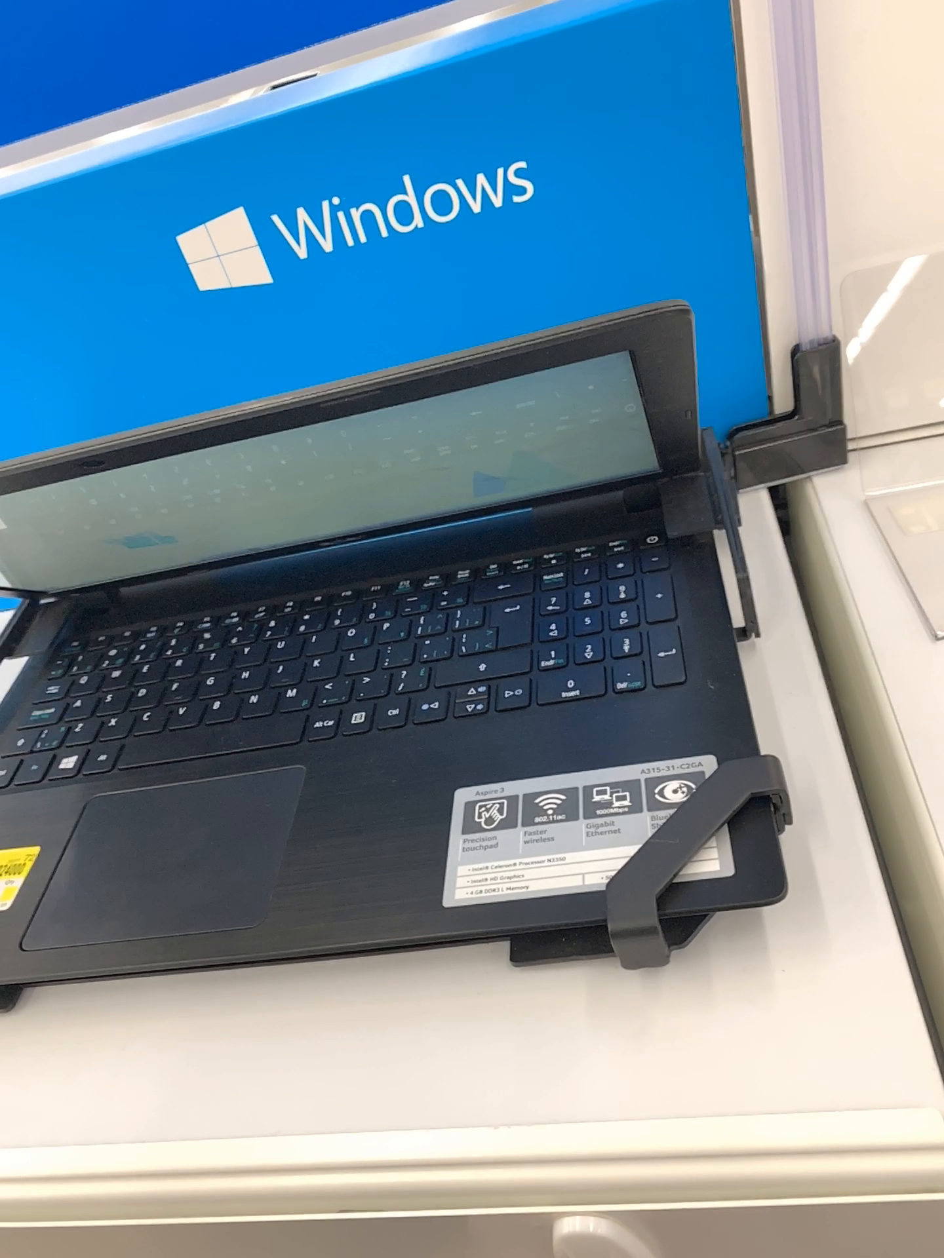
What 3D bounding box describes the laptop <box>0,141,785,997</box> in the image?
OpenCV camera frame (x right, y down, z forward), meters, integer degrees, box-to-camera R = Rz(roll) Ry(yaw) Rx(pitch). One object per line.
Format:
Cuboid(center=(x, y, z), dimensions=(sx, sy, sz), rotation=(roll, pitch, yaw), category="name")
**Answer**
Cuboid(center=(-0.088, -0.025, 0.358), dimensions=(0.344, 0.147, 0.227), rotation=(-10, 39, 12), category="laptop")
